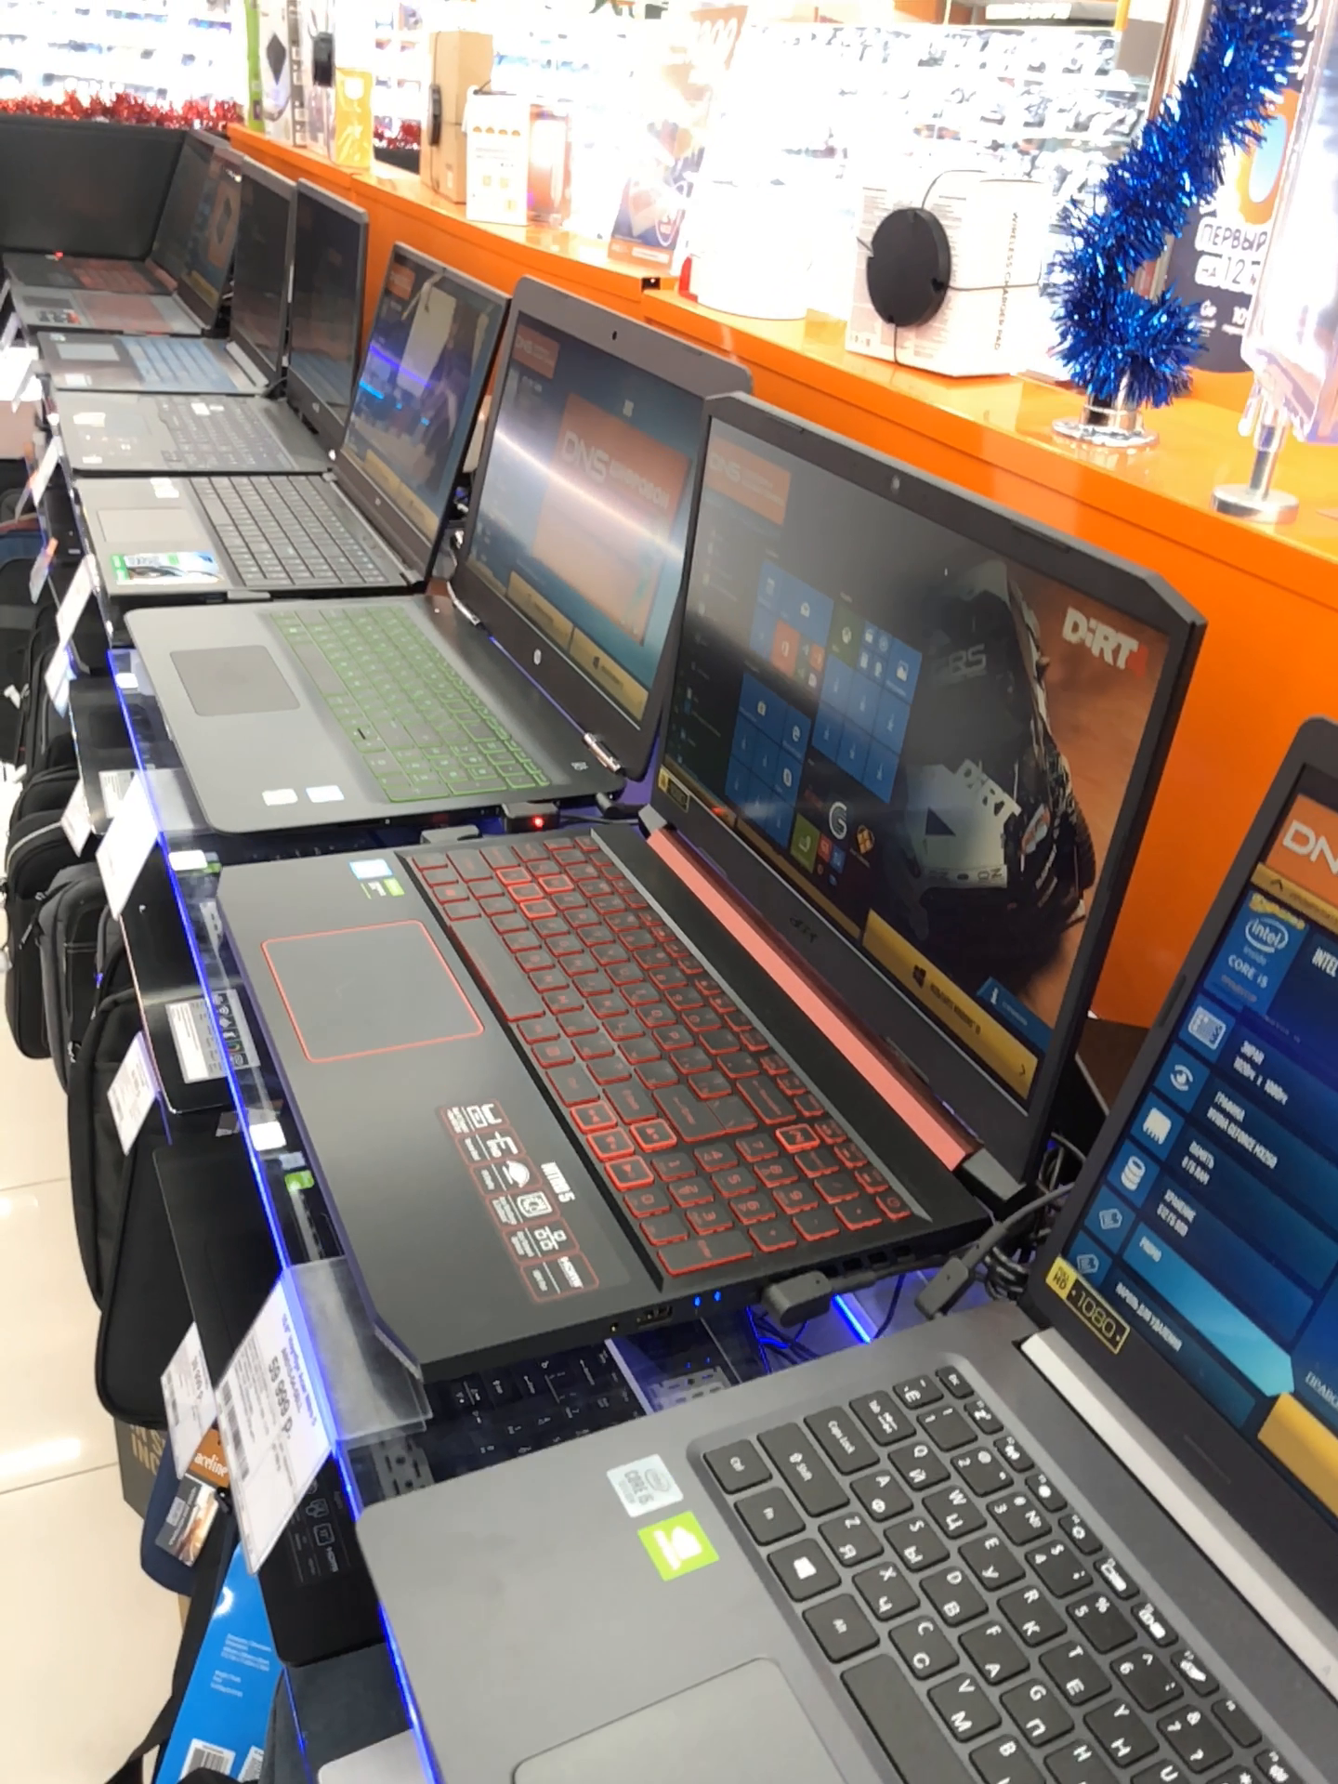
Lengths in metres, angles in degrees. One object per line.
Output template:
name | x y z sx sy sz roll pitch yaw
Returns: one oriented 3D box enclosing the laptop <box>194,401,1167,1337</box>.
laptop | -0.032 -0.050 0.608 0.251 0.231 0.330 -8 31 -25
